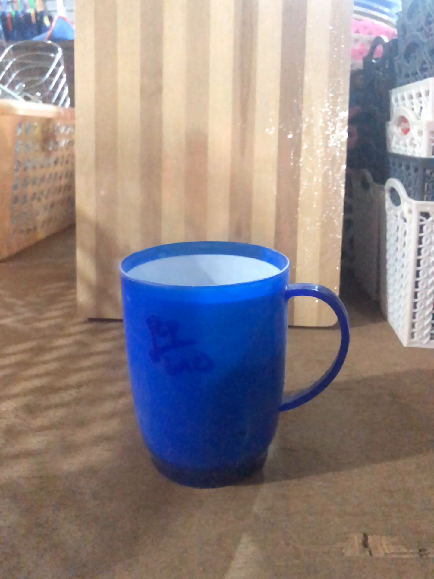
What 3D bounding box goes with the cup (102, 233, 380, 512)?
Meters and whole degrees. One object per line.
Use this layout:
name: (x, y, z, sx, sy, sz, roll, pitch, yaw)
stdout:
cup: (0.014, 0.034, 0.242, 0.110, 0.110, 0.070, 2, 19, 9)
